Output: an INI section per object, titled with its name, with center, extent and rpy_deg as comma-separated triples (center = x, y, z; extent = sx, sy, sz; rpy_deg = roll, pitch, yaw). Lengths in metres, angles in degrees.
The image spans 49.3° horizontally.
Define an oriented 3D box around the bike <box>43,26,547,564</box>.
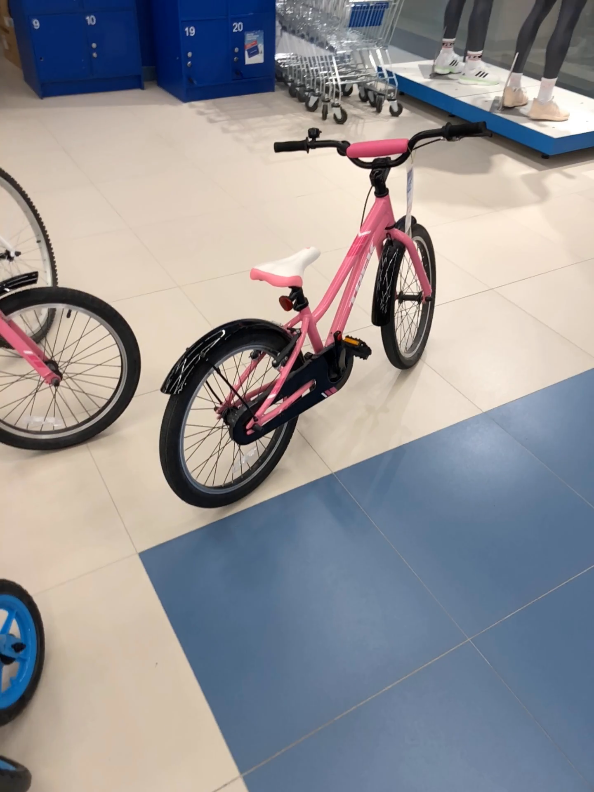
[bike]
center = 0.077, -0.387, 1.830
extent = 0.556, 0.834, 1.302
rpy_deg = 26, 48, 27
